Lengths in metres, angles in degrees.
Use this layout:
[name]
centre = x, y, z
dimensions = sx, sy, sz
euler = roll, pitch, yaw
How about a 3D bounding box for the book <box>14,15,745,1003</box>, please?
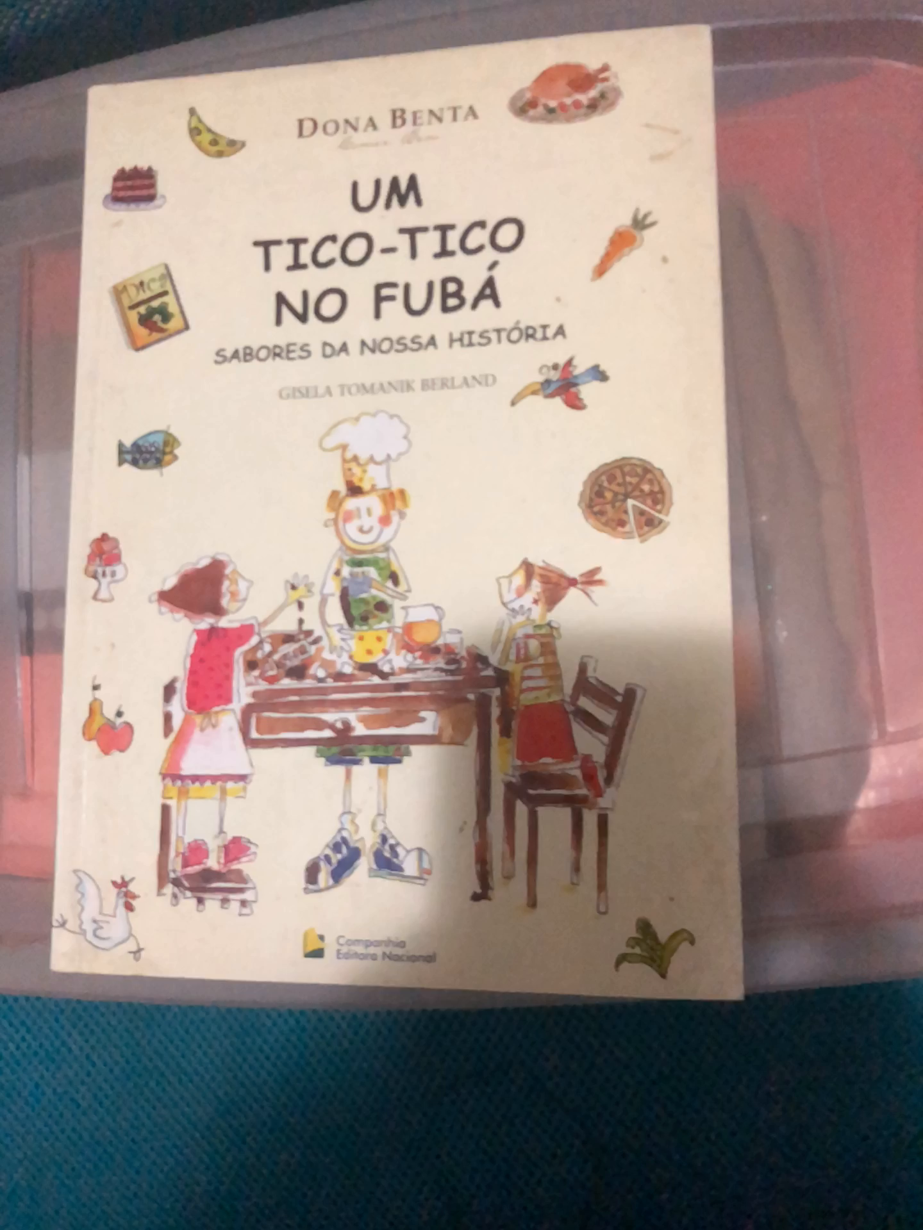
[book]
centre = -0.022, -0.028, 0.260
dimensions = 0.171, 0.020, 0.232
euler = -1, 83, 8
